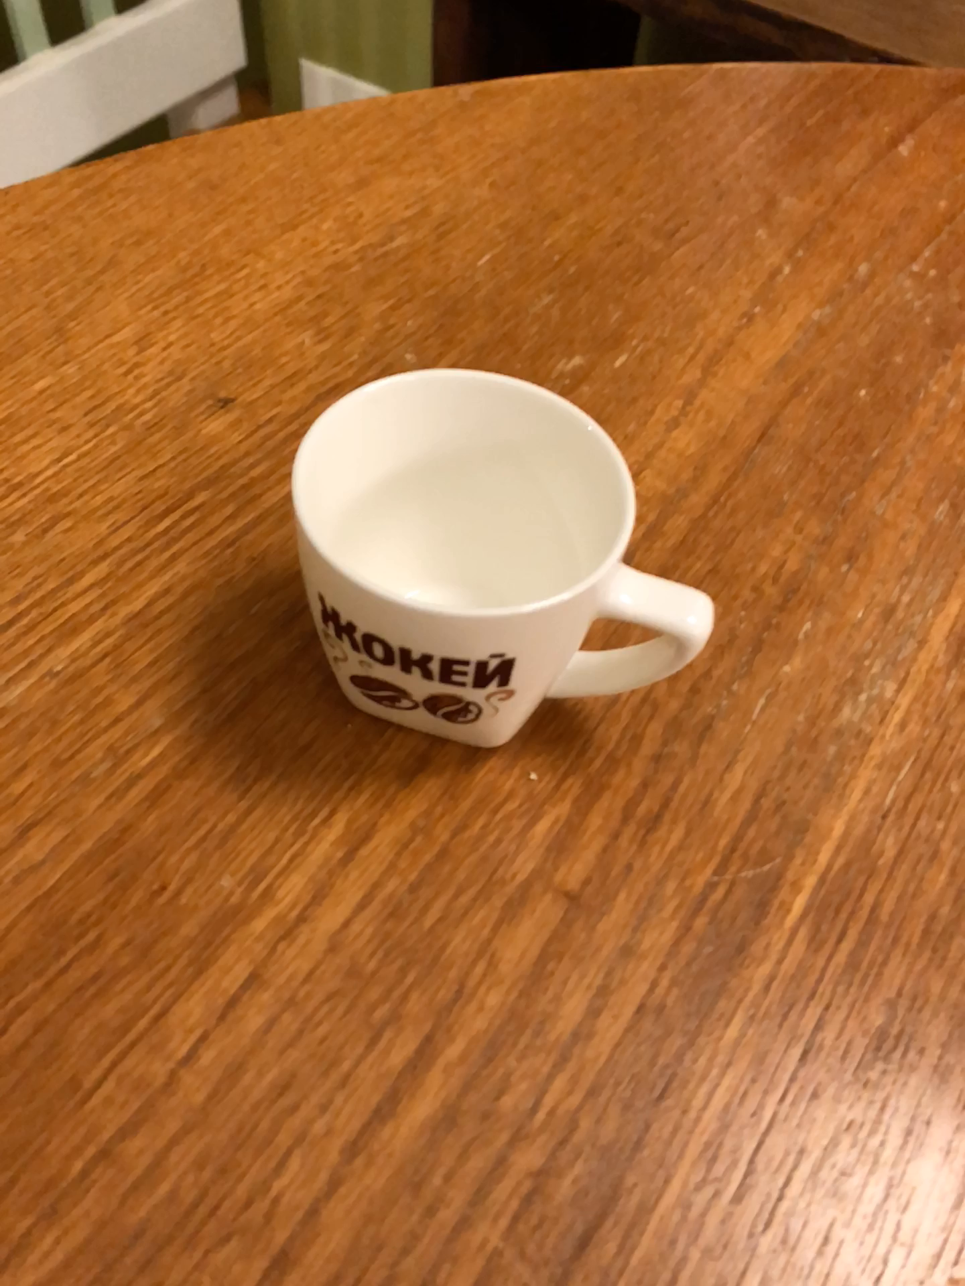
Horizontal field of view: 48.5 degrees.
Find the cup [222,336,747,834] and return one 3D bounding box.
[{"bbox_3d":[0.002,-0.012,0.203,0.075,0.047,0.060,17,54,8],"label":"cup"}]
